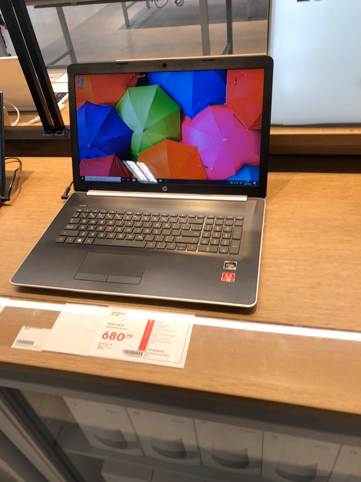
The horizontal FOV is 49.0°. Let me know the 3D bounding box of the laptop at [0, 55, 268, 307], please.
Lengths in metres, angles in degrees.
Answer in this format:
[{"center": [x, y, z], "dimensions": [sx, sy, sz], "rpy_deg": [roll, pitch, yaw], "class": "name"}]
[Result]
[{"center": [-0.061, -0.133, 0.707], "dimensions": [0.399, 0.217, 0.399], "rpy_deg": [3, 44, 13], "class": "laptop"}]
